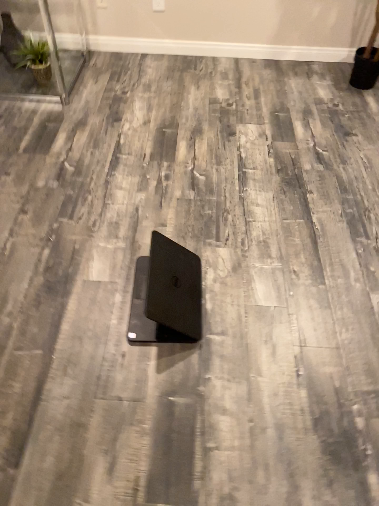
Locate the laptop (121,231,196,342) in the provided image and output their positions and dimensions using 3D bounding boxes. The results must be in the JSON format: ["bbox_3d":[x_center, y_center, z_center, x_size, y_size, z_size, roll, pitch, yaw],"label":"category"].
[{"bbox_3d":[-0.097,0.114,1.381,0.230,0.170,0.354,2,51,-2],"label":"laptop"}]
